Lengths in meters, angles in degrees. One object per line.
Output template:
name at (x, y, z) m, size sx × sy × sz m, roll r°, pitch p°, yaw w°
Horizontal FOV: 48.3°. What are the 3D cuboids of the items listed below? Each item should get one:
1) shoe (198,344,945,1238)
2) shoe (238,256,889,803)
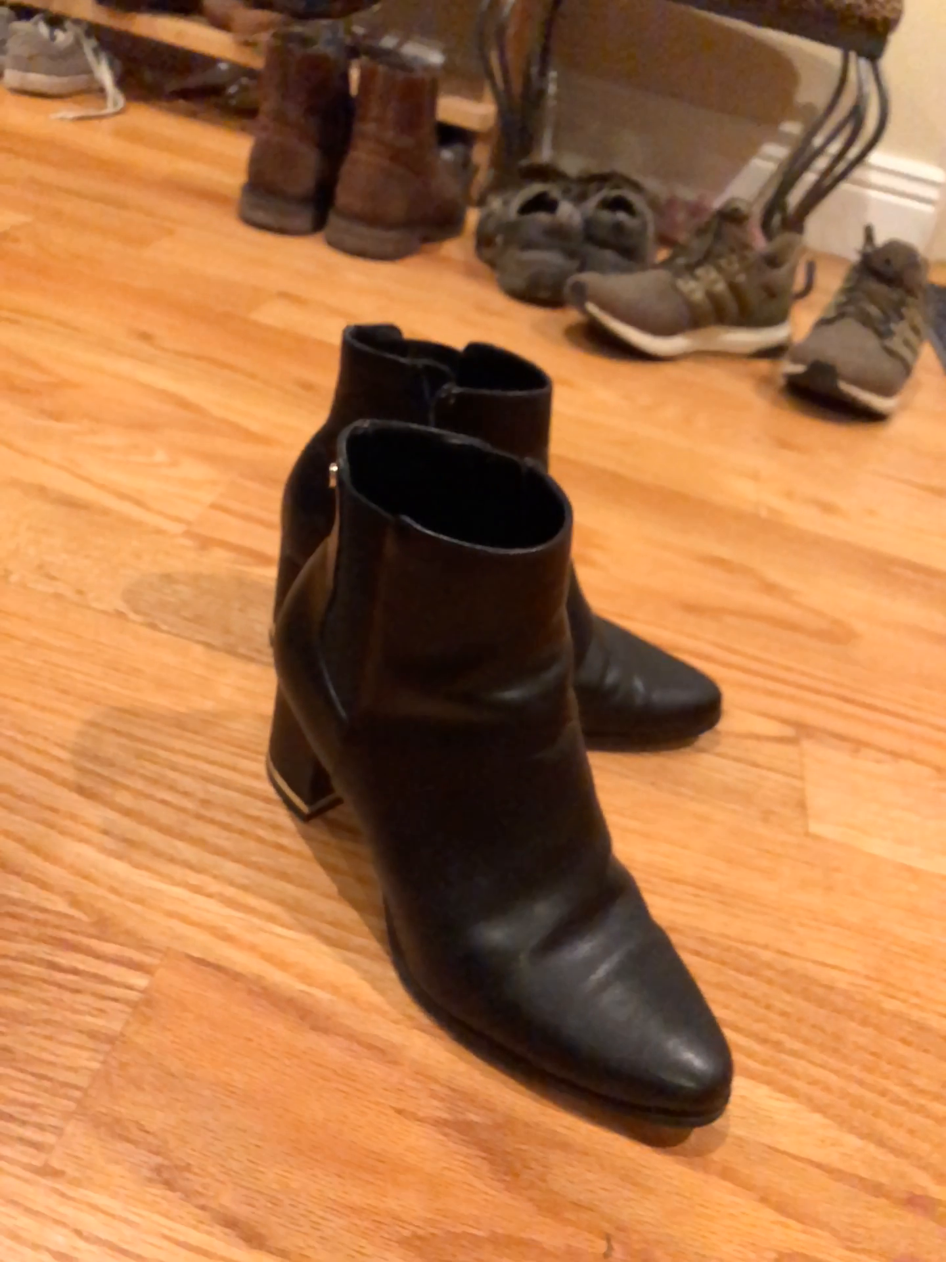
shoe at (0.014, 0.035, 0.362) m, size 0.095 × 0.175 × 0.237 m, roll -18°, pitch 45°, yaw -39°
shoe at (0.029, -0.044, 0.484) m, size 0.236 × 0.175 × 0.096 m, roll 14°, pitch 33°, yaw -2°
